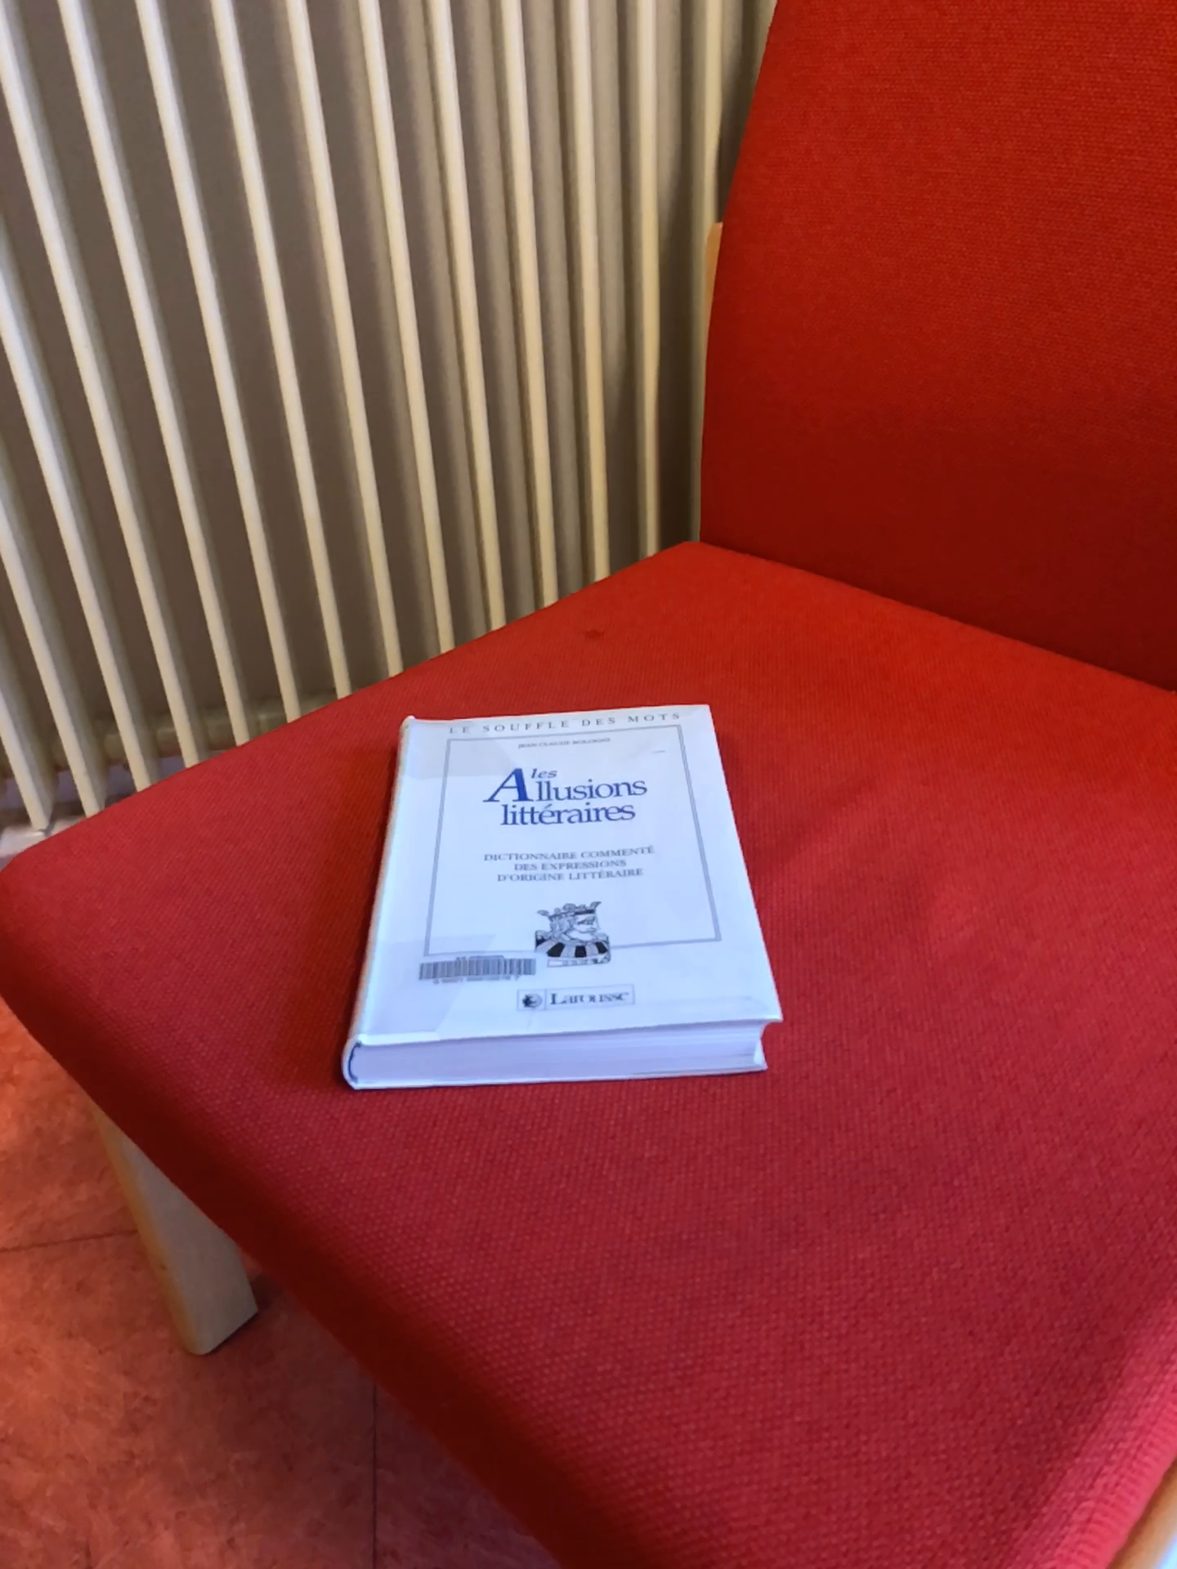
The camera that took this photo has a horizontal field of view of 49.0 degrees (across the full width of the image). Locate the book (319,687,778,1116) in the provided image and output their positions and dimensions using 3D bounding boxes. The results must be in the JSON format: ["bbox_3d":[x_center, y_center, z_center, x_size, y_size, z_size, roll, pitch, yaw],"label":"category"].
[{"bbox_3d":[-0.017,0.033,0.520,0.150,0.030,0.218,-4,35,0],"label":"book"}]
